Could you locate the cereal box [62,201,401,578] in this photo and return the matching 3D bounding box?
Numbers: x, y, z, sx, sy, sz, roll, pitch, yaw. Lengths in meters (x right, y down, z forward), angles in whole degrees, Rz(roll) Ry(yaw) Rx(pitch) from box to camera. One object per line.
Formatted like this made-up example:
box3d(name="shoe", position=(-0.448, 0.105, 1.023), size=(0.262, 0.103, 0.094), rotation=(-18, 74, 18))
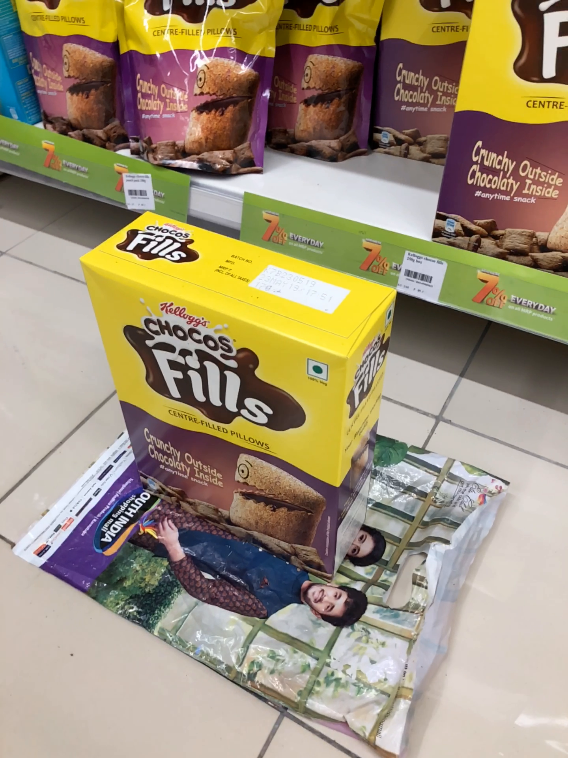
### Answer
box3d(name="cereal box", position=(-0.032, 0.014, 0.446), size=(0.190, 0.229, 0.070), rotation=(20, 48, 21))
